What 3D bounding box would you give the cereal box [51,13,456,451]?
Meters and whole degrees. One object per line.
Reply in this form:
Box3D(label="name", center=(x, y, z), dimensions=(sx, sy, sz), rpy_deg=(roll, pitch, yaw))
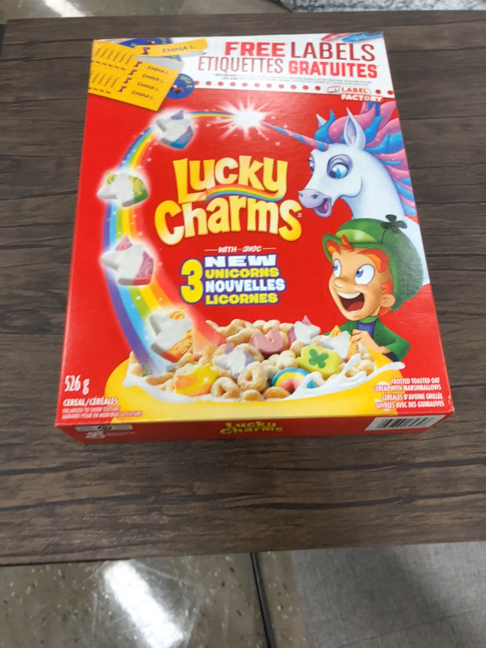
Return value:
Box3D(label="cereal box", center=(0.000, -0.082, 0.409), dimensions=(0.230, 0.080, 0.330), rpy_deg=(-2, 66, -1))
